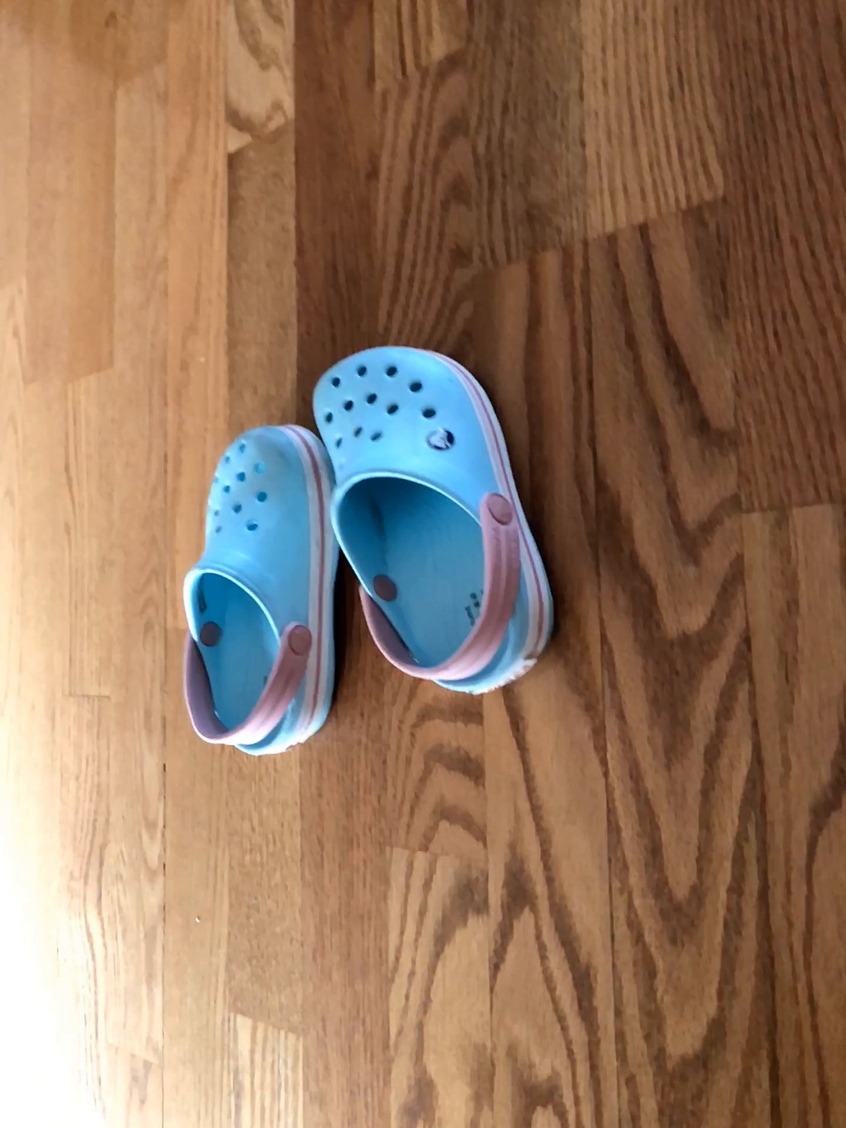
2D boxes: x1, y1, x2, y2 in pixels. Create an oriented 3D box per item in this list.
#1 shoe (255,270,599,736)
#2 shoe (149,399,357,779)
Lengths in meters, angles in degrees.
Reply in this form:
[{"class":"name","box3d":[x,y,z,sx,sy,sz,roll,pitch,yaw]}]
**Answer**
[{"class":"shoe","box3d":[-0.005,-0.024,0.386,0.083,0.048,0.165,-34,66,33]},{"class":"shoe","box3d":[-0.082,0.014,0.453,0.083,0.057,0.165,-4,84,40]}]
